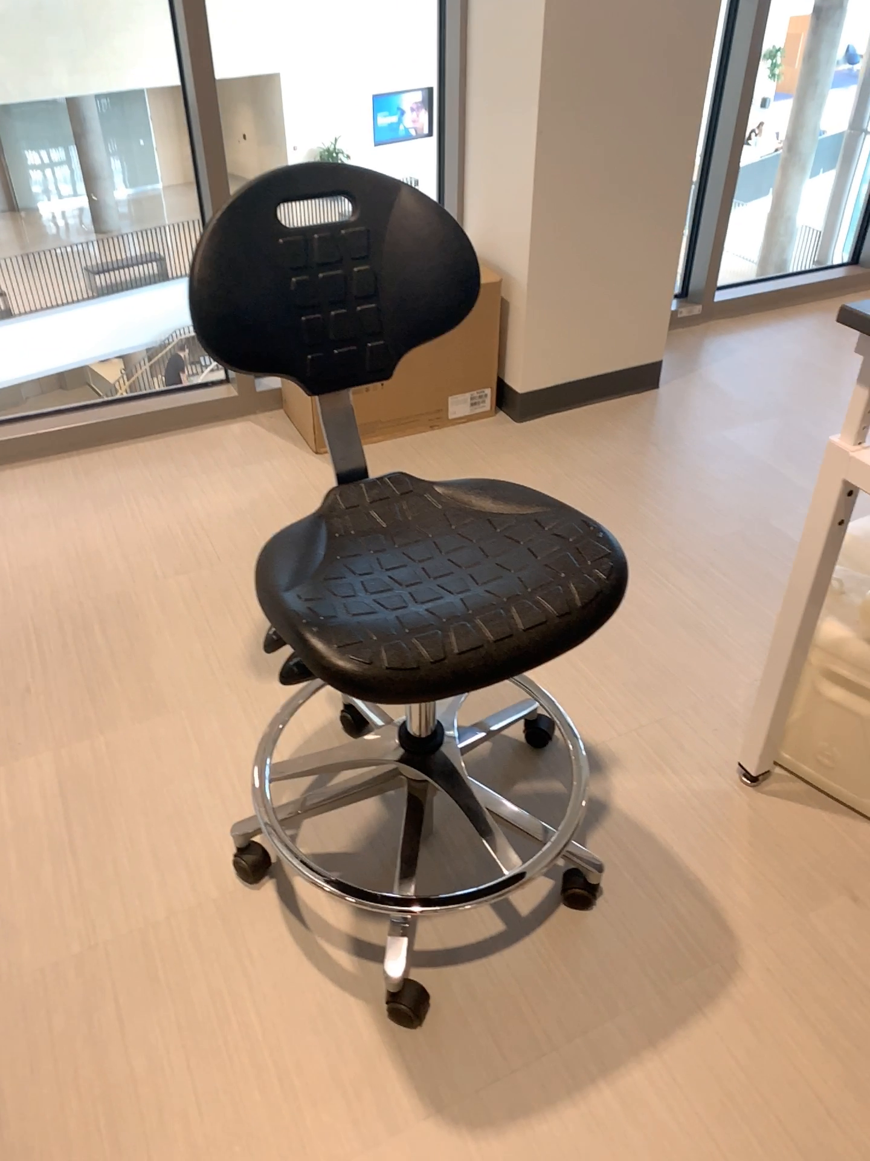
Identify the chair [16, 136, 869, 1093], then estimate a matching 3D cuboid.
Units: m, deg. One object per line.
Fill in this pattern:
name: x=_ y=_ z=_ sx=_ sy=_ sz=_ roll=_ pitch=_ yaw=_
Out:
chair: x=-0.023 y=-0.002 z=1.240 sx=0.672 sy=0.961 sz=0.664 roll=-22 pitch=42 yaw=-27
